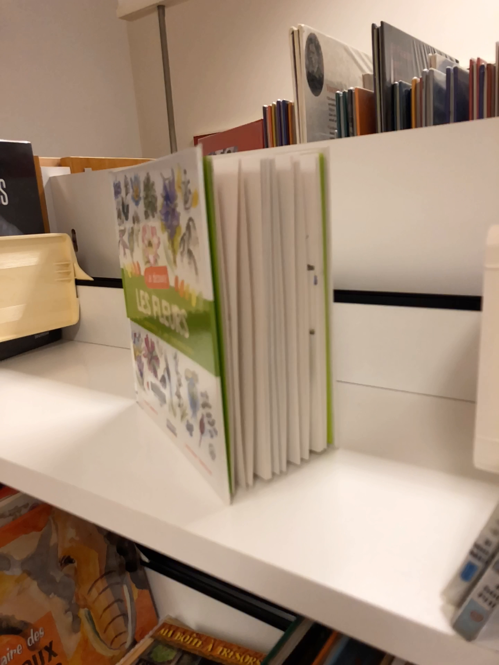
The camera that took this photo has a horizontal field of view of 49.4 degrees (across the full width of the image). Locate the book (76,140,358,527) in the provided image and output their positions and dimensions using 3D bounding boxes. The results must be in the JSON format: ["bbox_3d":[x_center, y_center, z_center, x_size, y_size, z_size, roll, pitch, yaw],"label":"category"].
[{"bbox_3d":[-0.033,-0.016,0.408,0.104,0.215,0.208,-11,15,-33],"label":"book"}]
